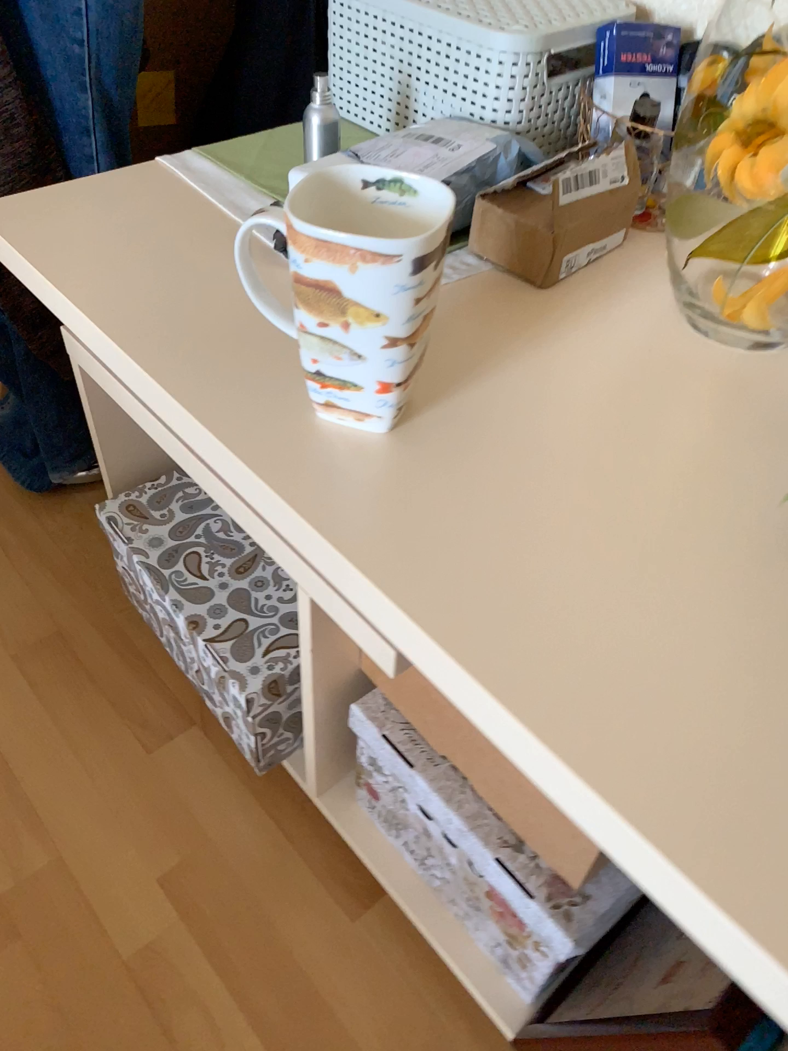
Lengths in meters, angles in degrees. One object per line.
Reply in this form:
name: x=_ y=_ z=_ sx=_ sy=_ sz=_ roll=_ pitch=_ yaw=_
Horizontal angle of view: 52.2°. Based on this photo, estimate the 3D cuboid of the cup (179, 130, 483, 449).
cup: x=-0.035 y=-0.144 z=0.489 sx=0.140 sy=0.129 sz=0.101 roll=16 pitch=46 yaw=11
